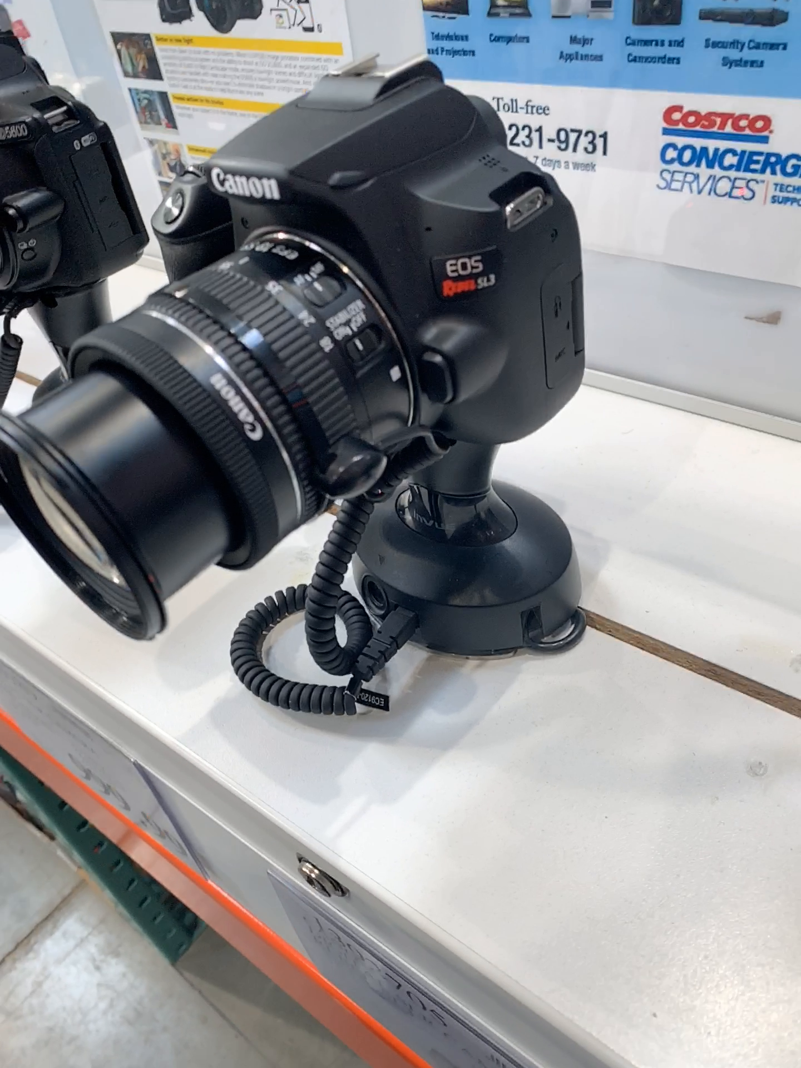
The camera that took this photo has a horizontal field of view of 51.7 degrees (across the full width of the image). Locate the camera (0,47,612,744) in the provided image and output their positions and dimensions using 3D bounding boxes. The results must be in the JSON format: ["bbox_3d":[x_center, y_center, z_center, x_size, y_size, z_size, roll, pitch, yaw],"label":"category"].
[{"bbox_3d":[-0.038,-0.051,0.198,0.120,0.079,0.141,22,50,31],"label":"camera"}]
